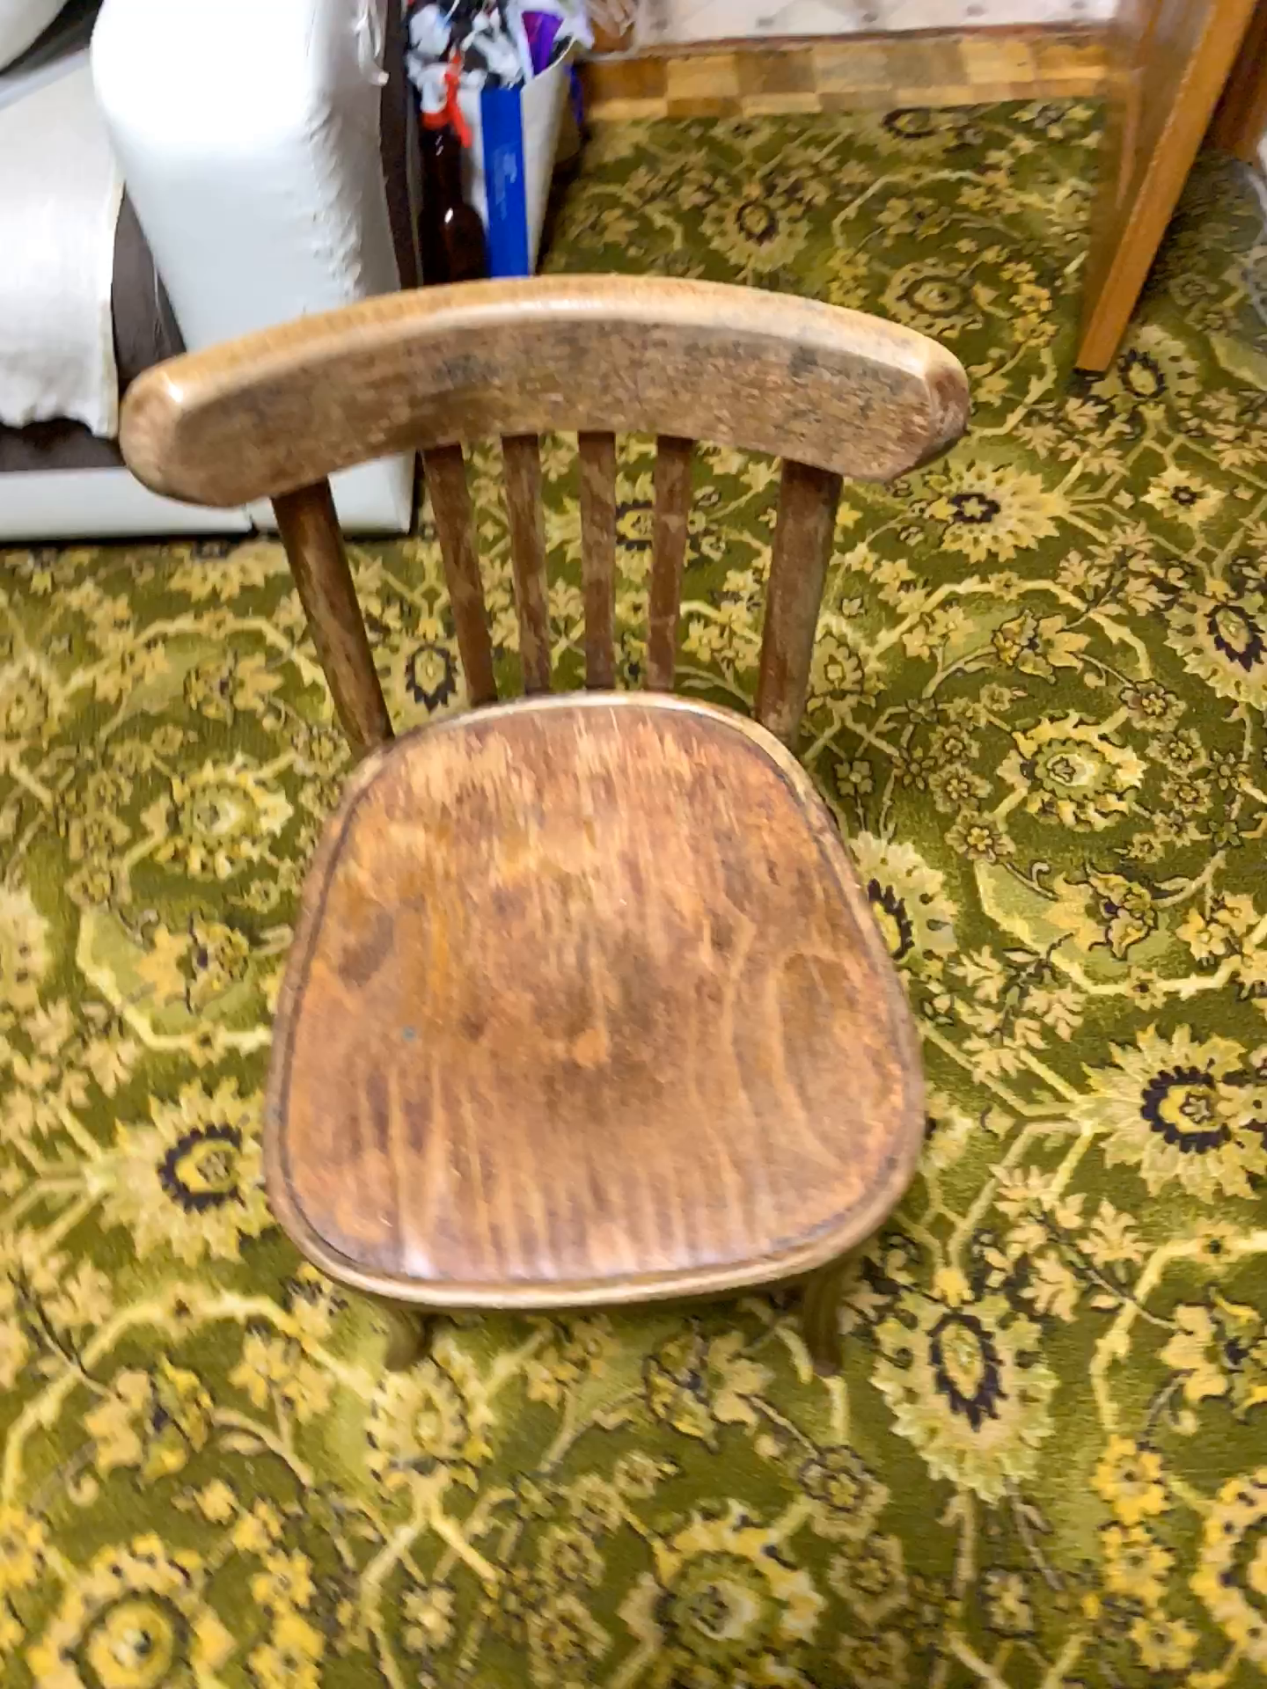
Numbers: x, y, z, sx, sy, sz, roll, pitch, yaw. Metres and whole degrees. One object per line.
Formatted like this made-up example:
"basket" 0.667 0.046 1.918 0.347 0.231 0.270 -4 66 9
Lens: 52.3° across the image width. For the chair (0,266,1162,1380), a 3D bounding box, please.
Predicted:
"chair" -0.031 0.085 0.831 0.399 0.736 0.412 -1 62 0
